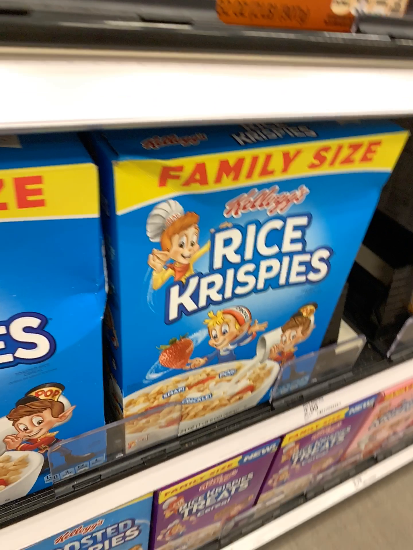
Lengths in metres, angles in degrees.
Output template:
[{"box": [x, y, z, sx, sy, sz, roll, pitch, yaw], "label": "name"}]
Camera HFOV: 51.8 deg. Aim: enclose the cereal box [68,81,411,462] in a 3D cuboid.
[{"box": [0.013, 0.004, 0.430, 0.251, 0.348, 0.100, -14, 43, -27], "label": "cereal box"}]
